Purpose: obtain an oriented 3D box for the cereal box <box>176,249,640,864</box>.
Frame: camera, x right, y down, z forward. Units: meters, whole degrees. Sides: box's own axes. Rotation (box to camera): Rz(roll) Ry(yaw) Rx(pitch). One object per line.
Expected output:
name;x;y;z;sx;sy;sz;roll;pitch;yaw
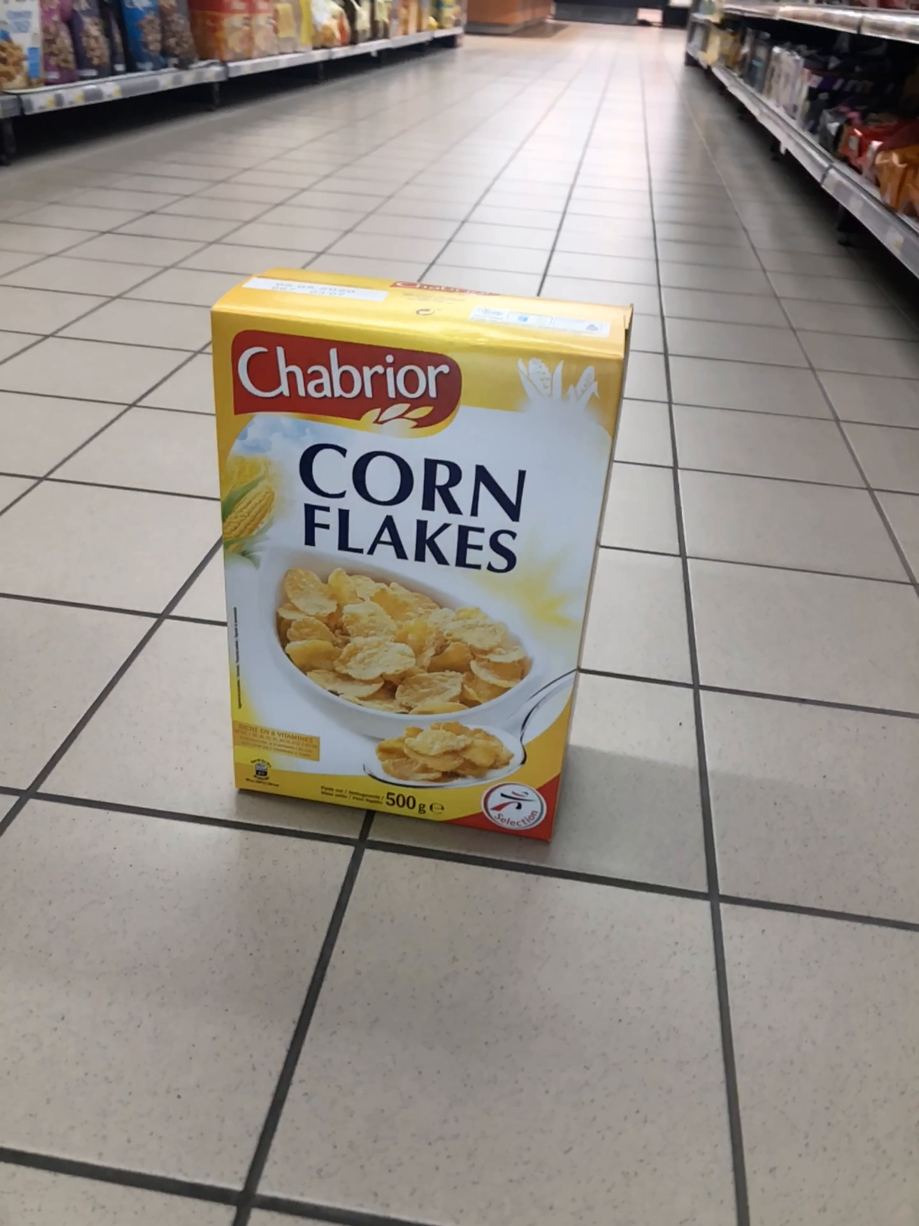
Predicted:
cereal box;-0.027;-0.027;0.578;0.210;0.308;0.111;8;31;7
